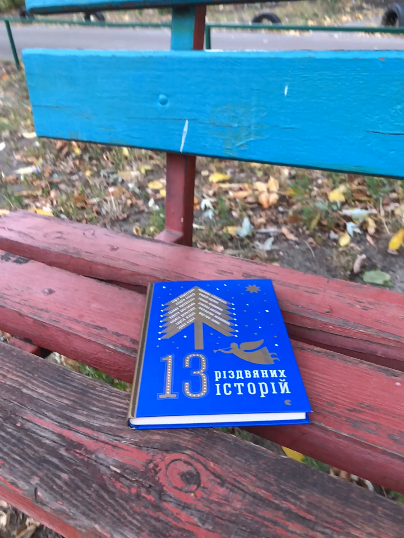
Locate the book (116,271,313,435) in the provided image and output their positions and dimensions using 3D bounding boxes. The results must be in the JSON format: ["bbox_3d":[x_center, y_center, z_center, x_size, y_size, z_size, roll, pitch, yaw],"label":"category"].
[{"bbox_3d":[0.007,0.068,0.445,0.155,0.020,0.213,-2,30,-1],"label":"book"}]
